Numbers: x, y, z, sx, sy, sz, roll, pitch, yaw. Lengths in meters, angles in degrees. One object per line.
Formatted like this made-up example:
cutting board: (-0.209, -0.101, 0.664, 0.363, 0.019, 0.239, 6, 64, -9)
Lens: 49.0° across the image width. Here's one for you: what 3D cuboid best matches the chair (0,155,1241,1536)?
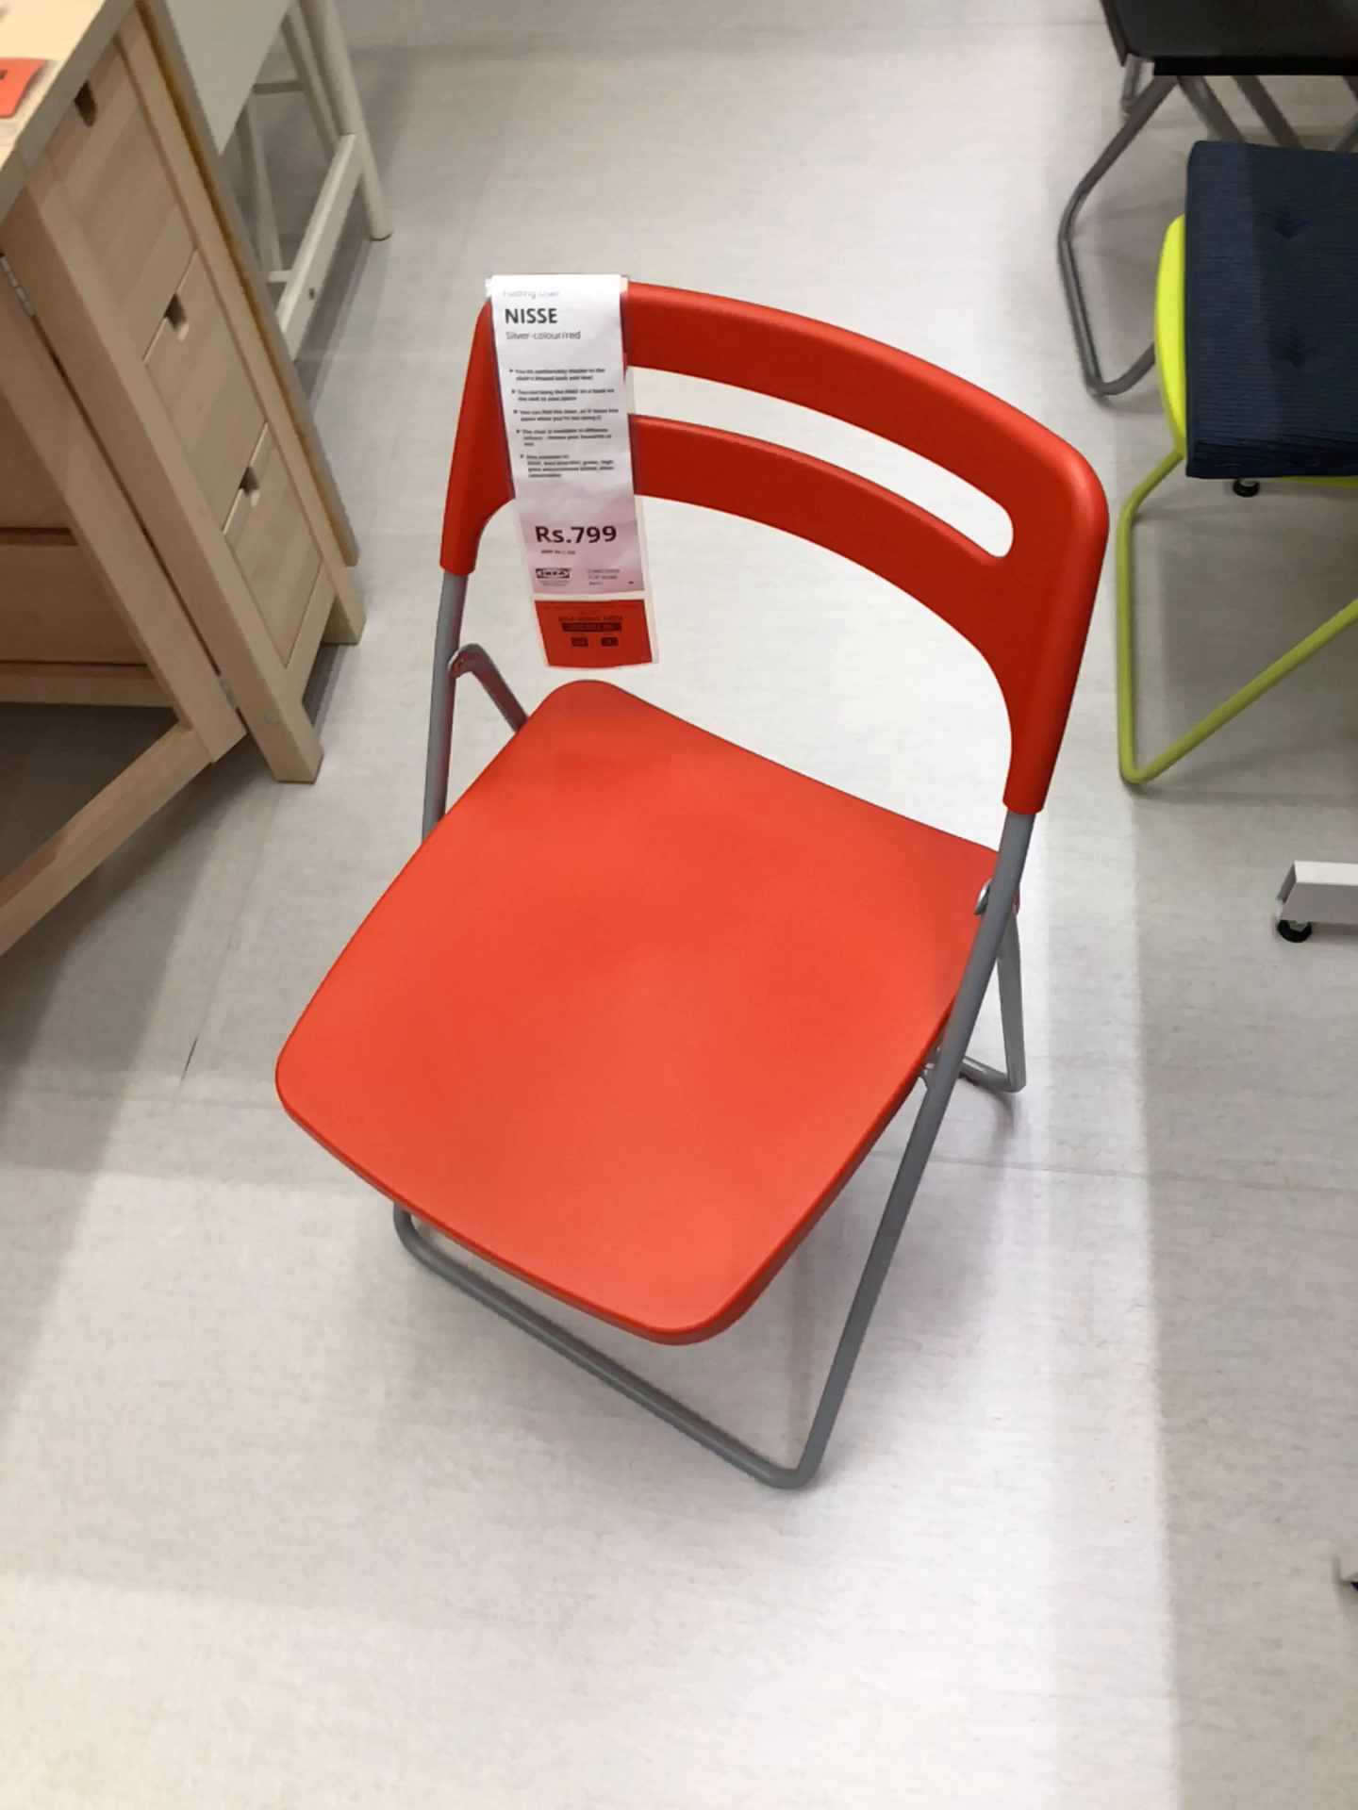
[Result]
chair: (-0.019, 0.016, 0.934, 0.441, 0.677, 0.421, 26, 63, 21)
